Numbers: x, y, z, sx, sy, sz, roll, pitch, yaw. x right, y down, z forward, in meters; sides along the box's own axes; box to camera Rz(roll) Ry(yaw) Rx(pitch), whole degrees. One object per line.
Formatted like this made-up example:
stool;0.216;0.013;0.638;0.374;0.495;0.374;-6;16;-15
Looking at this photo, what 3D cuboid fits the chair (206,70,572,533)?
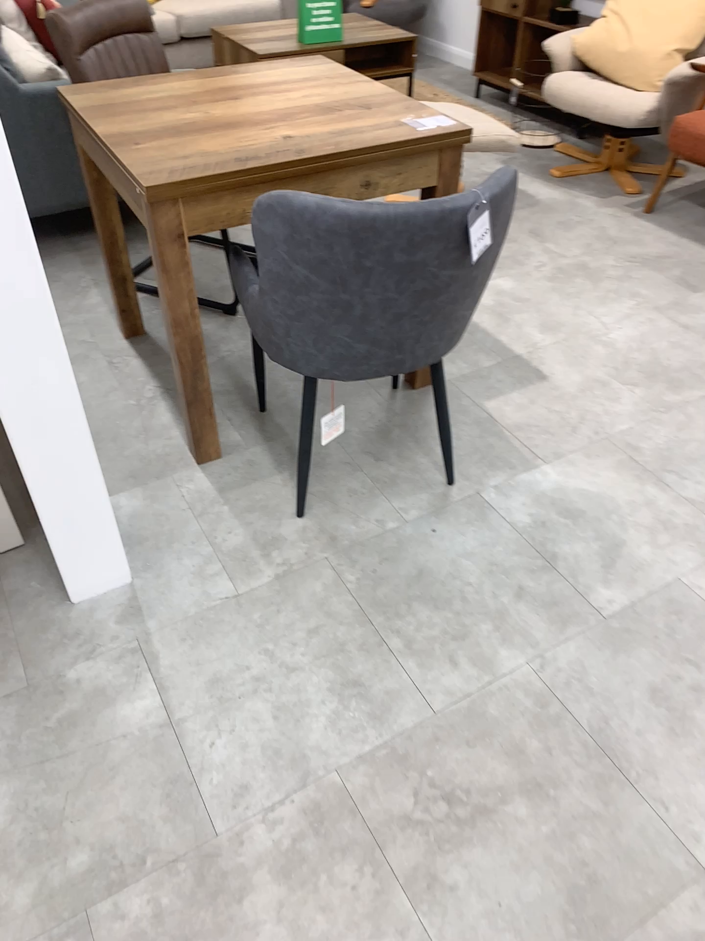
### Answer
chair;0.037;-0.383;1.620;0.528;0.775;0.554;-14;44;-15
